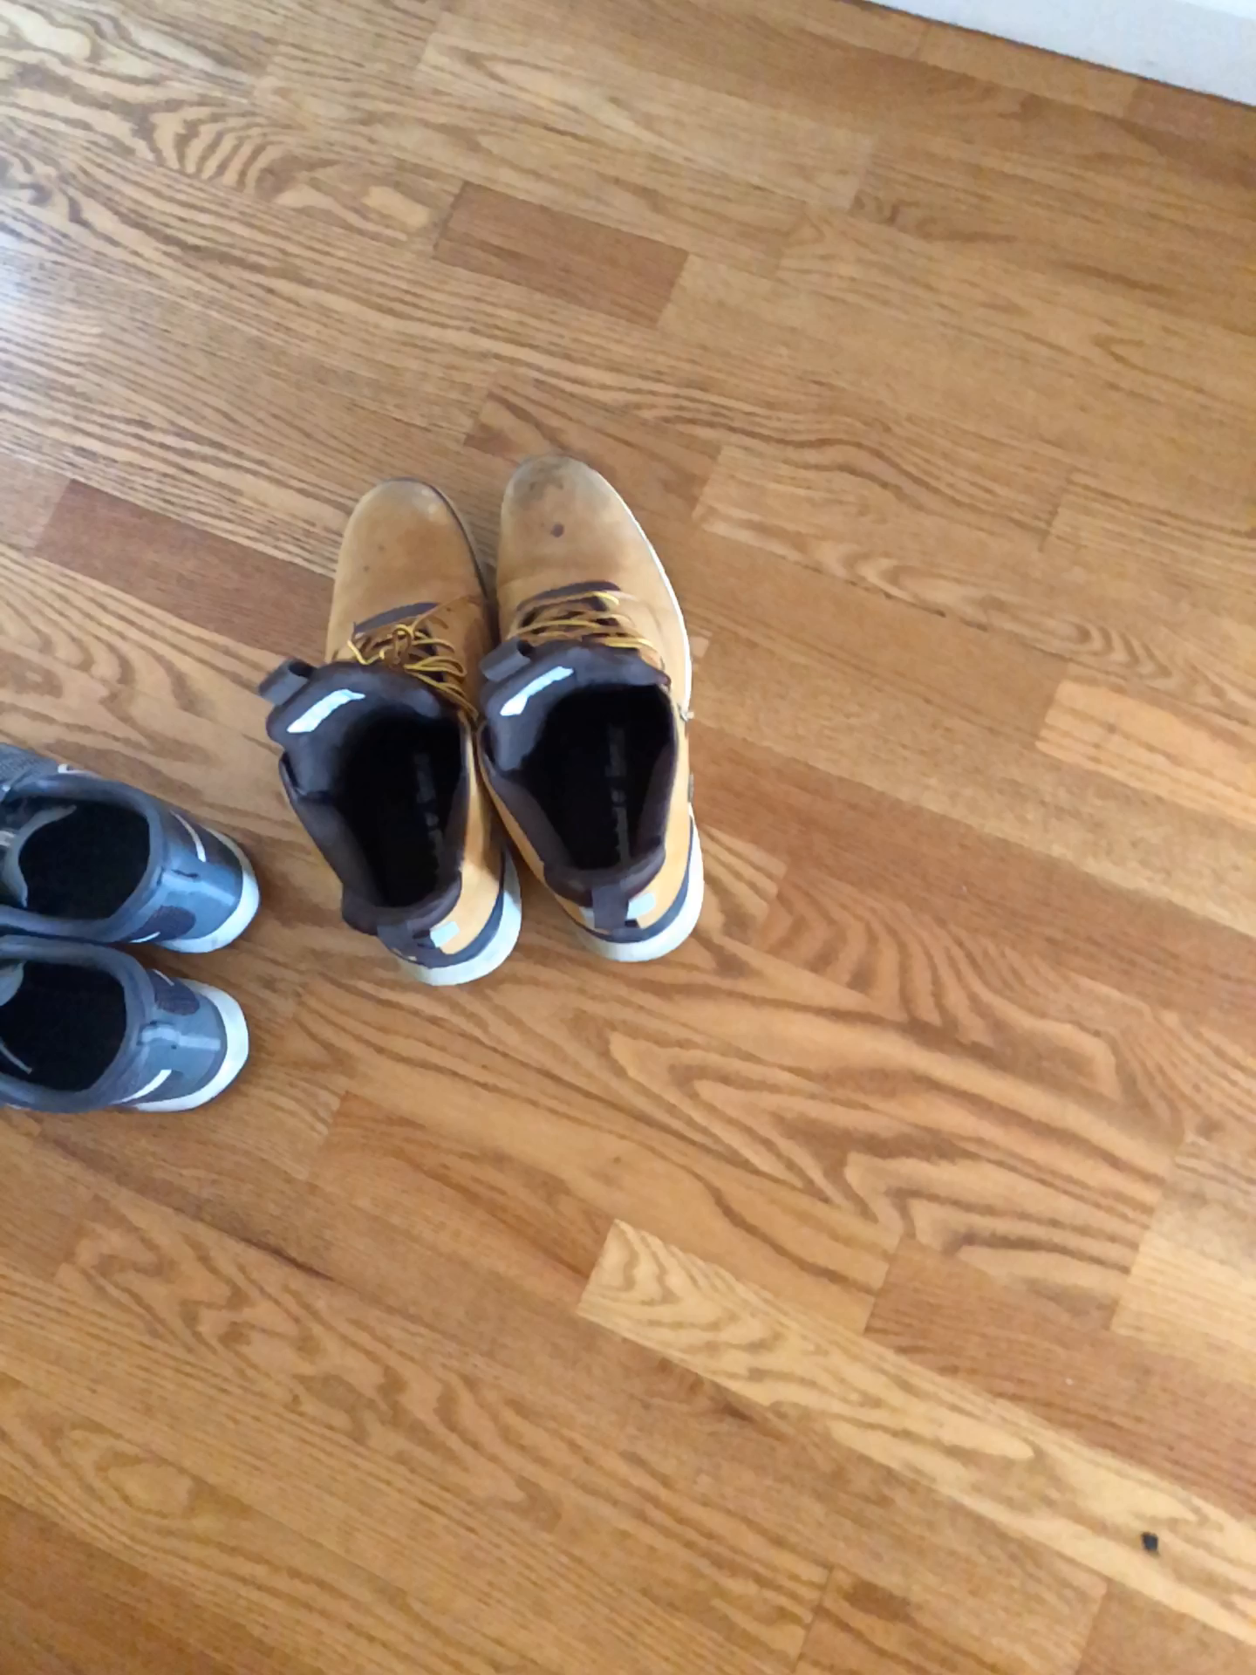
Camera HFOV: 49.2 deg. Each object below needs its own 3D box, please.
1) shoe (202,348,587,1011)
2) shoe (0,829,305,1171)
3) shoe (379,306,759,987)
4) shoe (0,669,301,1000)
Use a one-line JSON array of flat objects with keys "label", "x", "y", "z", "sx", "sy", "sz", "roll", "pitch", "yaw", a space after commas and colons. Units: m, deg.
[{"label": "shoe", "x": -0.126, "y": -0.078, "z": 0.764, "sx": 0.130, "sy": 0.140, "sz": 0.320, "roll": -12, "pitch": 78, "yaw": 5}, {"label": "shoe", "x": -0.378, "y": 0.096, "z": 0.827, "sx": 0.320, "sy": 0.100, "sz": 0.140, "roll": 9, "pitch": 81, "yaw": 9}, {"label": "shoe", "x": -0.028, "y": -0.094, "z": 0.748, "sx": 0.130, "sy": 0.140, "sz": 0.320, "roll": -12, "pitch": 78, "yaw": 5}, {"label": "shoe", "x": -0.390, "y": -0.001, "z": 0.847, "sx": 0.330, "sy": 0.100, "sz": 0.140, "roll": 9, "pitch": 81, "yaw": 9}]
